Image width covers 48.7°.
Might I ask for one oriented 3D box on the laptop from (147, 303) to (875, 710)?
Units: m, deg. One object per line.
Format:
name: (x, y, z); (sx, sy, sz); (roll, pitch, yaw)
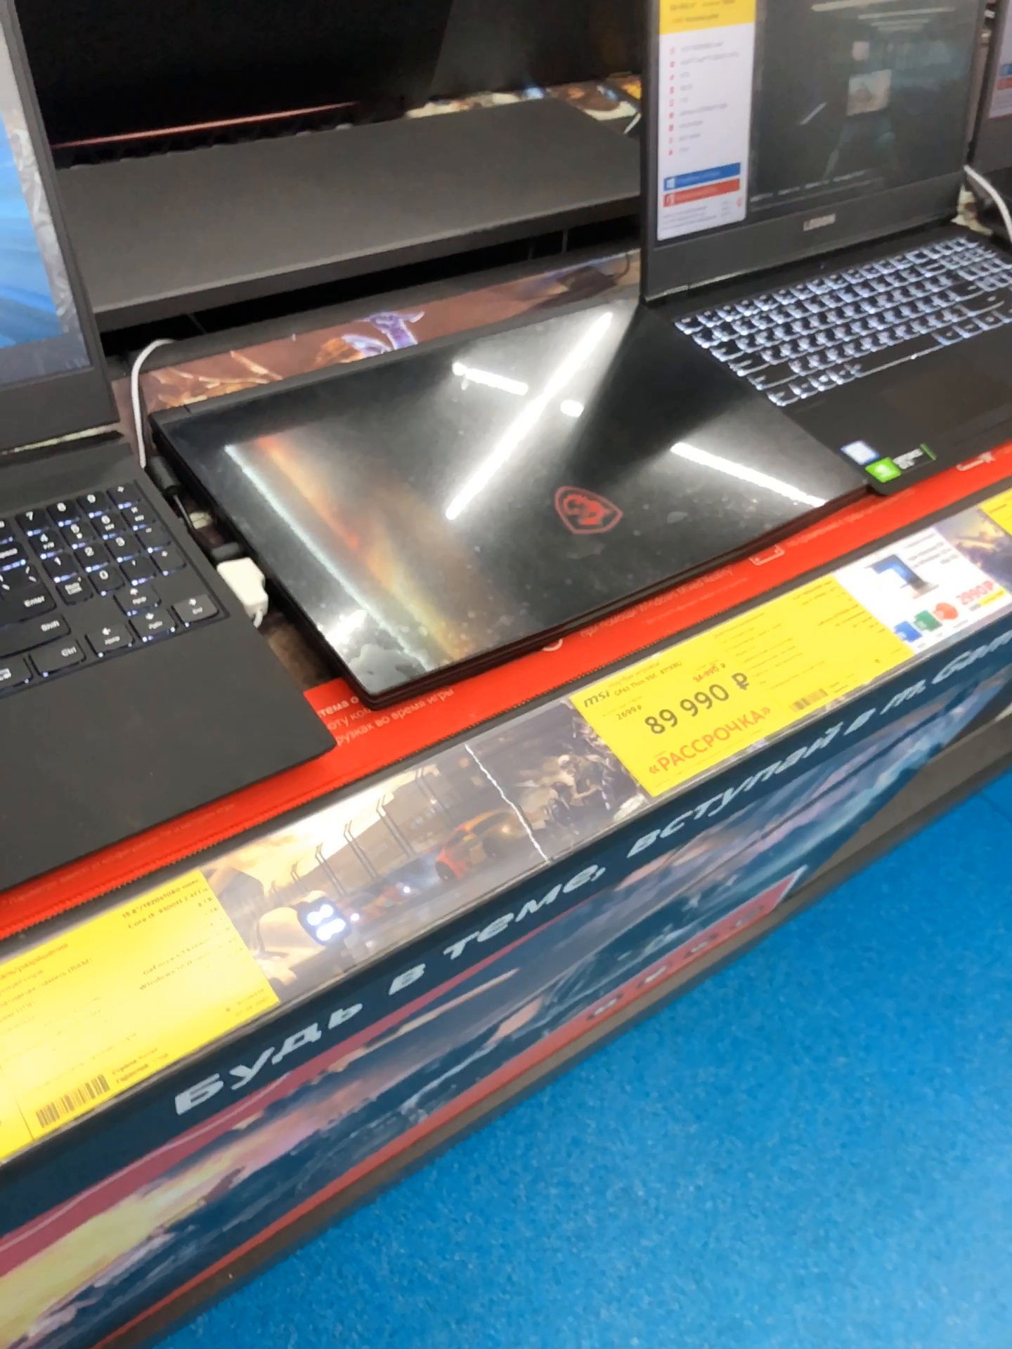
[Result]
laptop: (0.010, -0.124, 0.657); (0.353, 0.002, 0.239); (-24, 56, -27)
